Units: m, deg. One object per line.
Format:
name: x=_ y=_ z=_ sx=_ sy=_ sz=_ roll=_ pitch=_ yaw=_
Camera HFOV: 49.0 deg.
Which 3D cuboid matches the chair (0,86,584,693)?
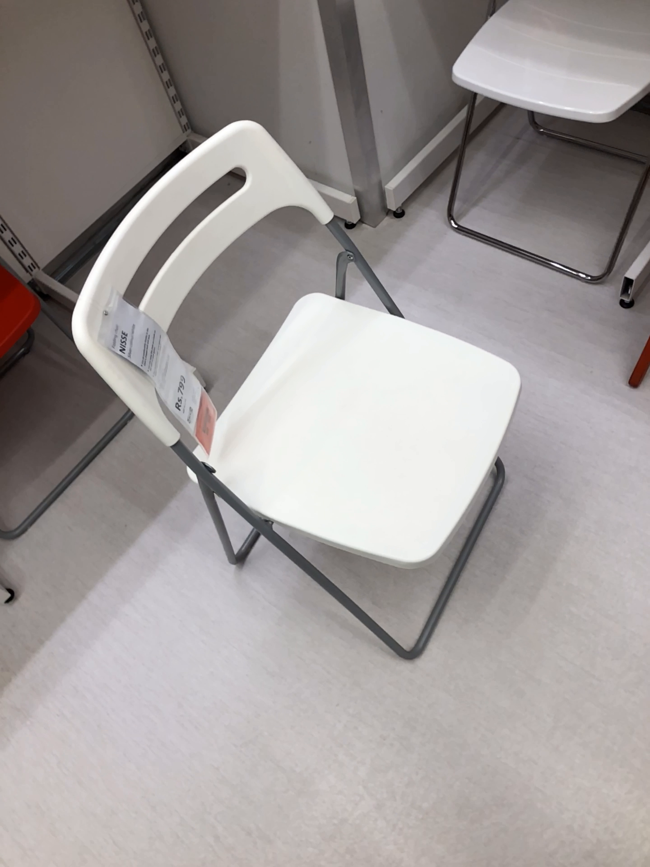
chair: x=0.000 y=-0.032 z=1.090 sx=0.541 sy=0.667 sz=0.501 roll=21 pitch=66 yaw=23
